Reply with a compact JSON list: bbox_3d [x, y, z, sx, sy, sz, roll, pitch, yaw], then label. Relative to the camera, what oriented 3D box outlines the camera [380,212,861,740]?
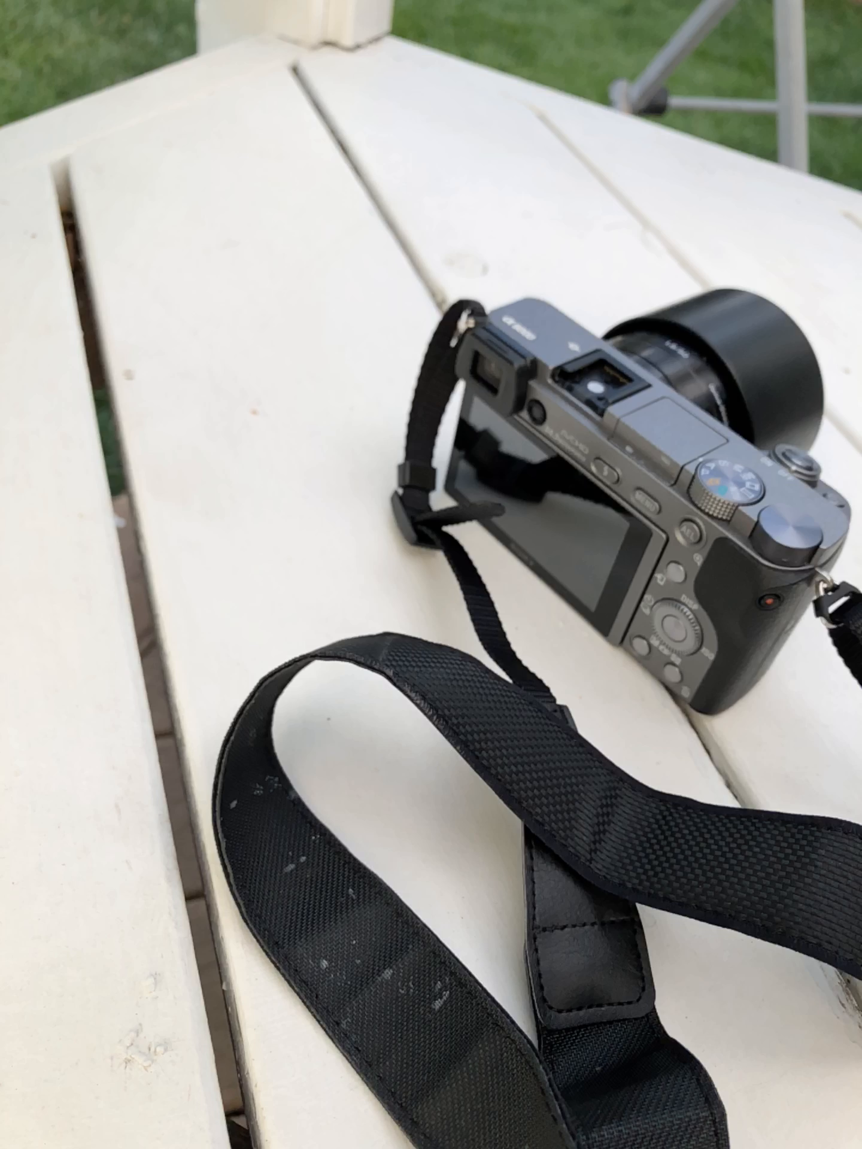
[{"bbox_3d":[0.074,-0.042,0.302,0.110,0.070,0.140,-26,54,-34],"label":"camera"}]
